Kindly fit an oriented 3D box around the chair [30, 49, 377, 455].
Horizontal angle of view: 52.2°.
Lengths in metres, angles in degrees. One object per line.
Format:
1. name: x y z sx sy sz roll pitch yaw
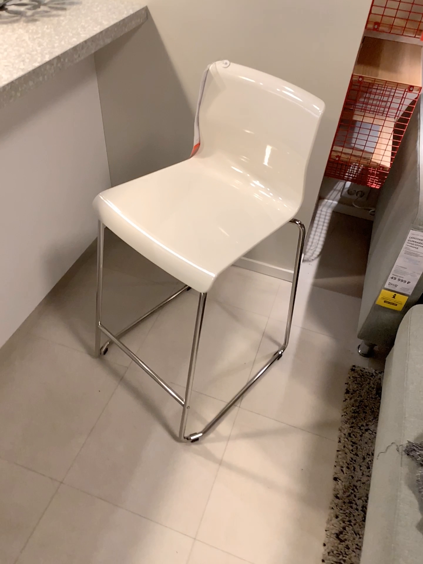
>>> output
1. chair: -0.034 -0.058 1.247 0.542 0.905 0.511 -34 57 -31
